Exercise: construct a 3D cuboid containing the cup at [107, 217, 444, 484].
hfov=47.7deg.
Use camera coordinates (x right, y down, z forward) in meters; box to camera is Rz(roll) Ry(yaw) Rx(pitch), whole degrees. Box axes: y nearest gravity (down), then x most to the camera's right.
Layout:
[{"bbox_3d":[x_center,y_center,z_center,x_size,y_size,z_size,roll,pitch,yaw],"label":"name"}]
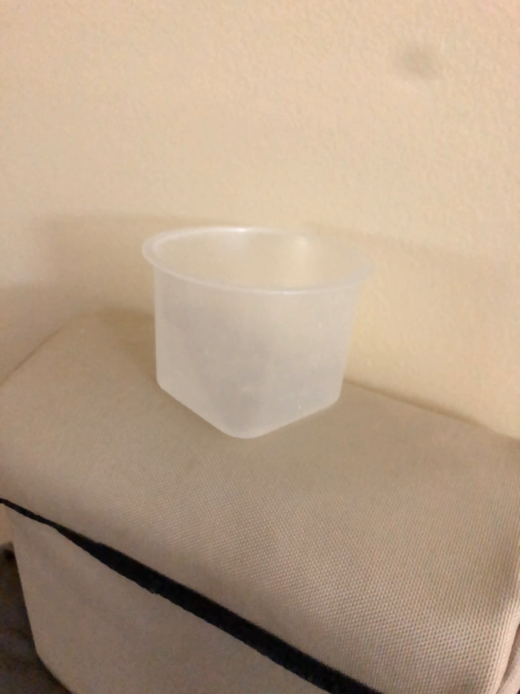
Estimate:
[{"bbox_3d":[0.004,-0.008,0.204,0.076,0.046,0.080,2,27,-1],"label":"cup"}]
